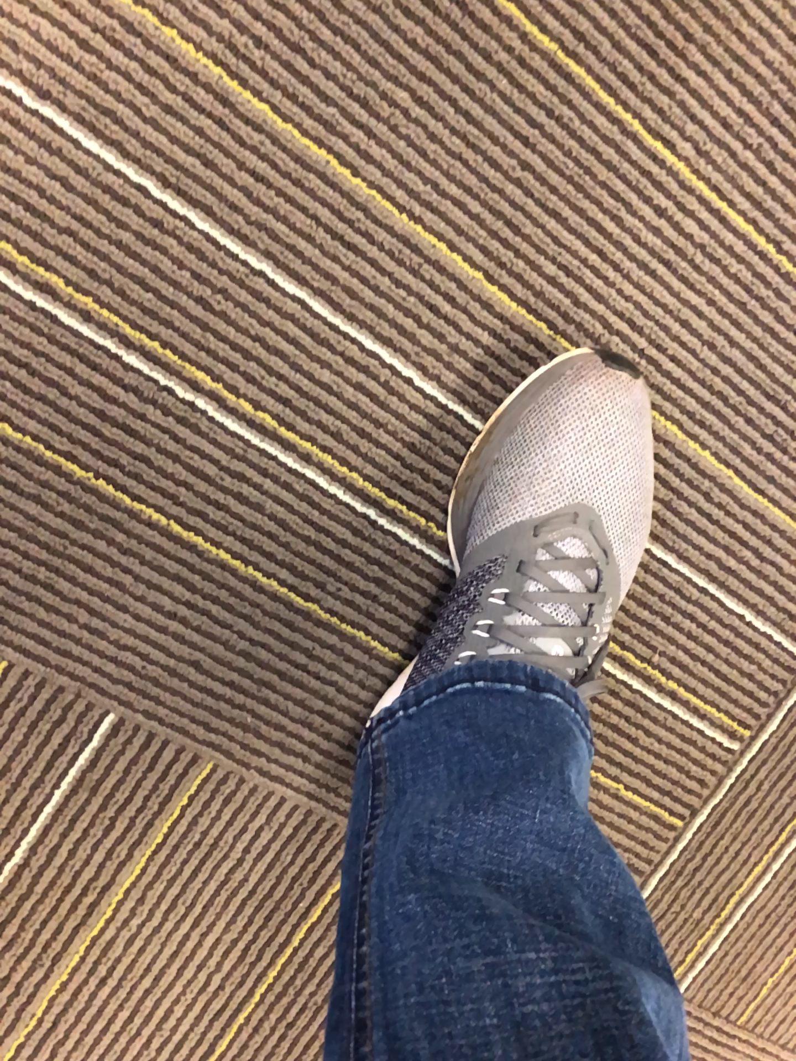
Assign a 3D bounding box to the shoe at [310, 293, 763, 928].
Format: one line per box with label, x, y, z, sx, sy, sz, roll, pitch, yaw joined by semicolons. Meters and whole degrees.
shoe;0.070;0.043;0.465;0.120;0.060;0.300;22;91;-16
